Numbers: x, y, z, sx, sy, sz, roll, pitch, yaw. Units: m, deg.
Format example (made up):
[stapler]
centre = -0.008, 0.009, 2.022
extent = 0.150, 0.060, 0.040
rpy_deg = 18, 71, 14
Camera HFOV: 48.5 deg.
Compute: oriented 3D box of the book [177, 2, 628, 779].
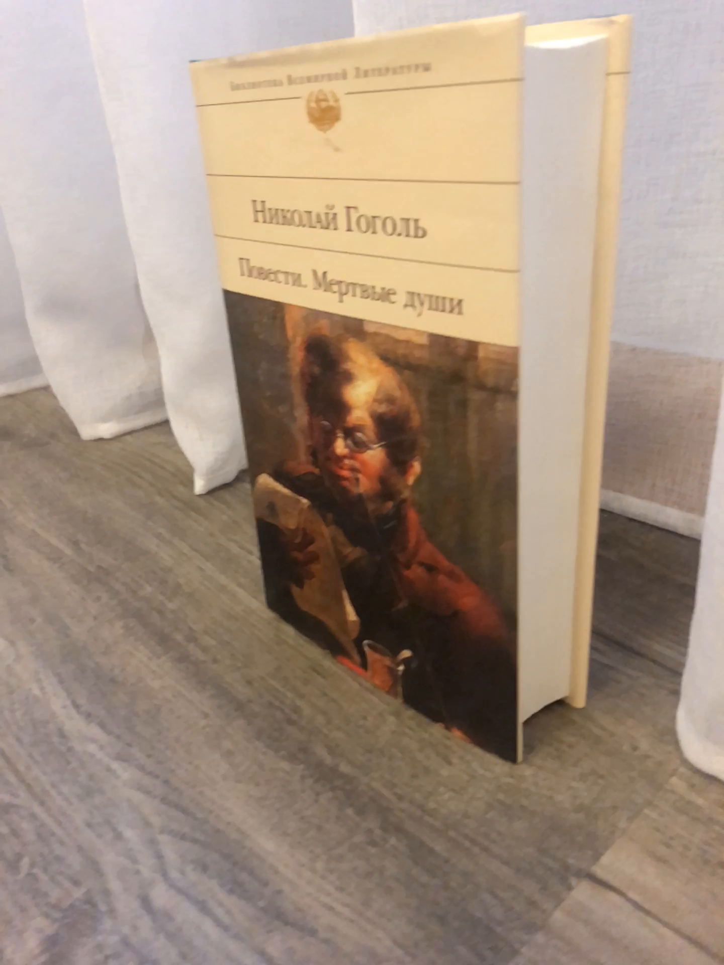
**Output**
[book]
centre = 0.009, -0.028, 0.264
extent = 0.041, 0.209, 0.134
rpy_deg = -24, 32, -36
